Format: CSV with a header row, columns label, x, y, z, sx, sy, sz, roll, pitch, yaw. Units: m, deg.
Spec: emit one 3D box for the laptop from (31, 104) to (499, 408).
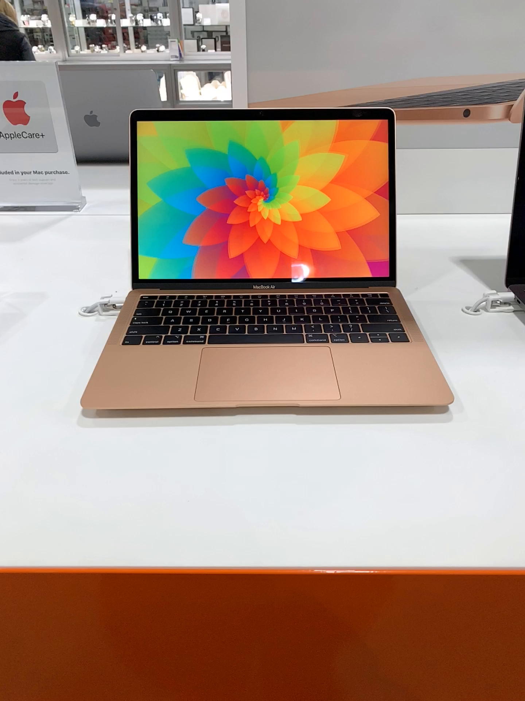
label,x,y,z,sx,sy,sz,roll,pitch,yaw
laptop,0.001,-0.115,0.511,0.293,0.170,0.311,-1,33,-1
